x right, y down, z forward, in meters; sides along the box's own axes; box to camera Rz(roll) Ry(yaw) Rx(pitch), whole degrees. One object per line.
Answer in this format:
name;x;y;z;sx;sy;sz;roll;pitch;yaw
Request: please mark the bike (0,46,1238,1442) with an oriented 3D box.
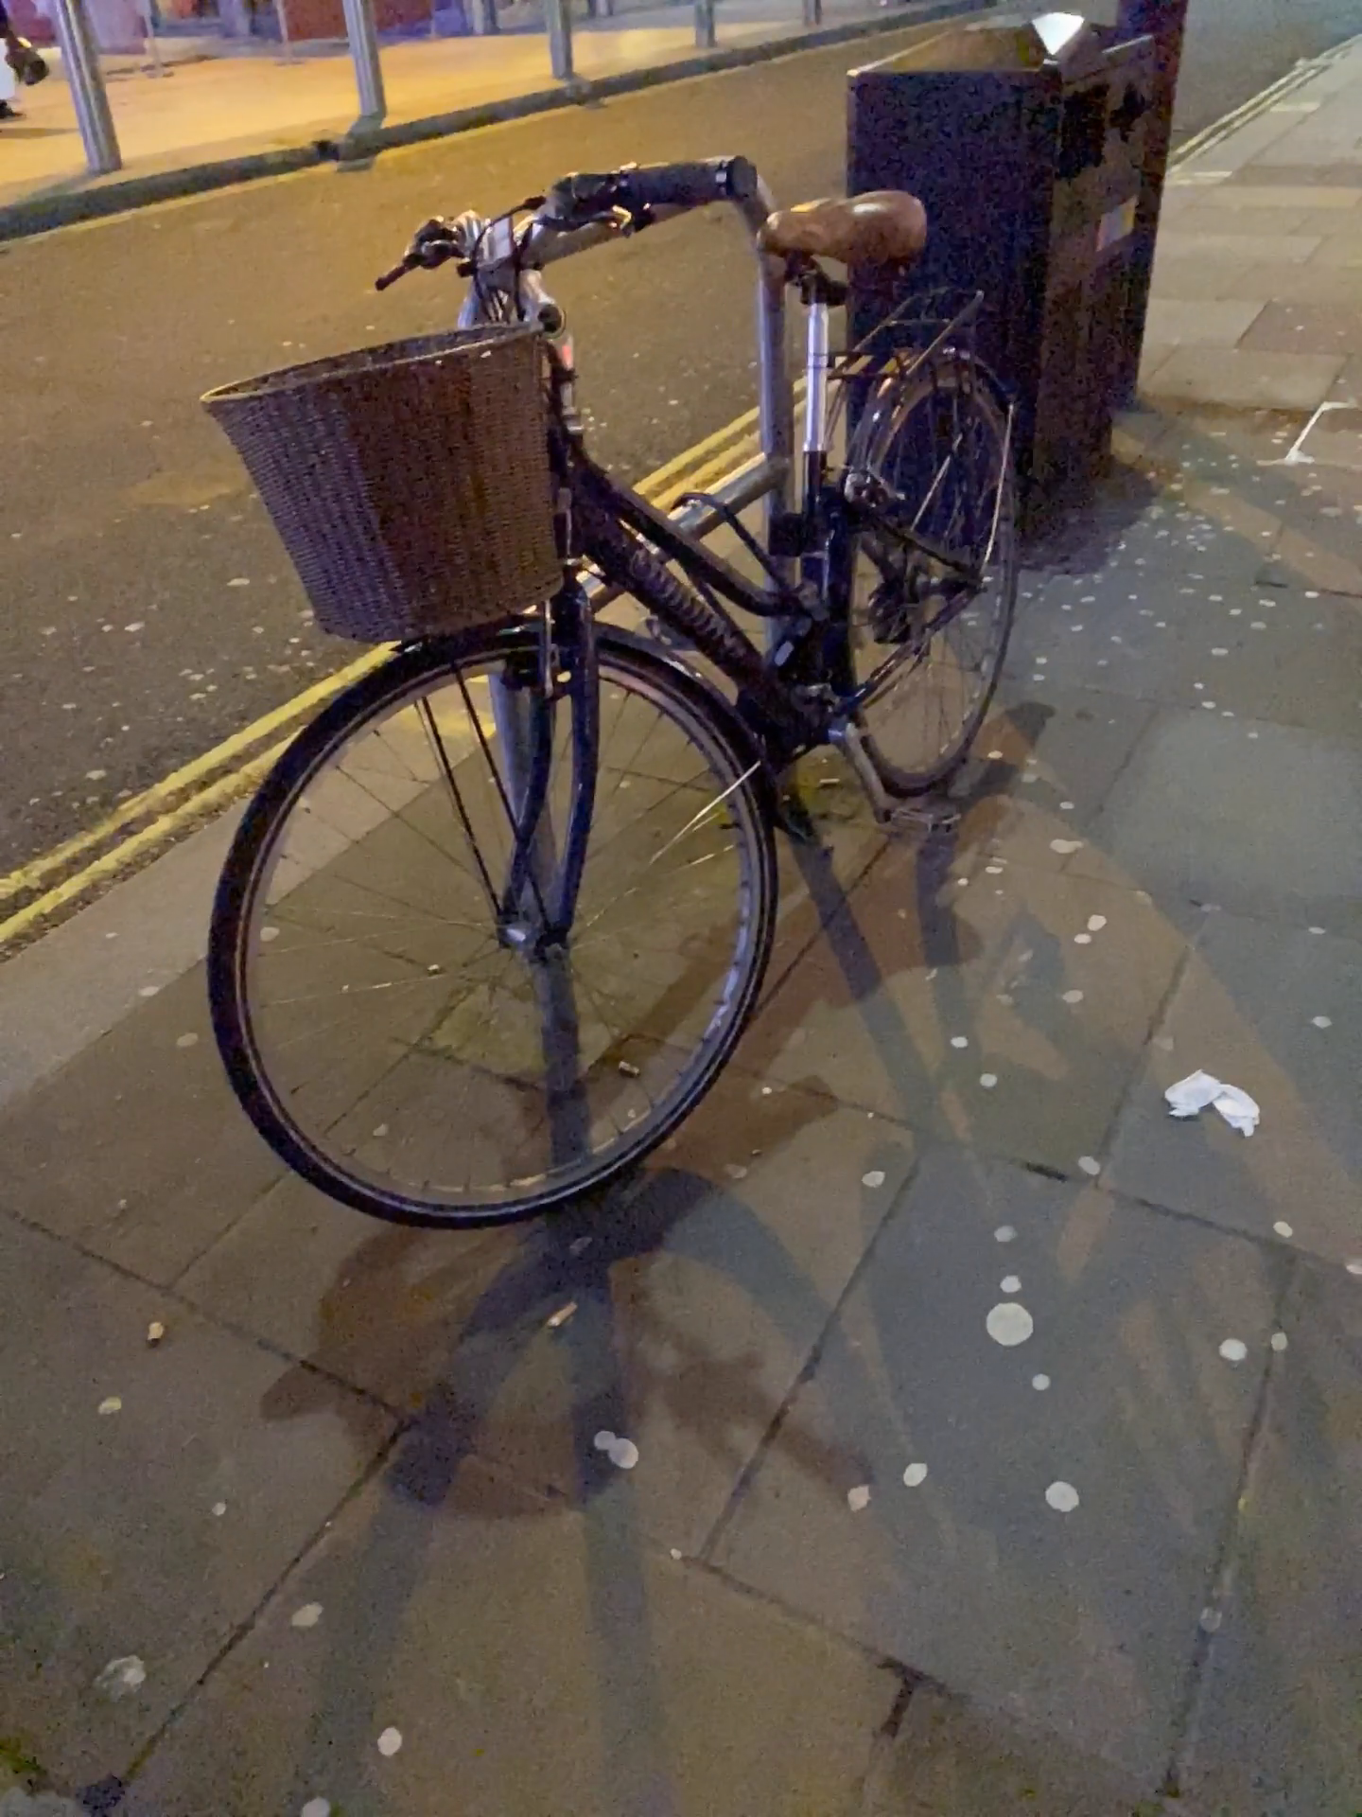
bike;0.030;-0.416;1.863;0.660;1.062;1.718;21;43;30
